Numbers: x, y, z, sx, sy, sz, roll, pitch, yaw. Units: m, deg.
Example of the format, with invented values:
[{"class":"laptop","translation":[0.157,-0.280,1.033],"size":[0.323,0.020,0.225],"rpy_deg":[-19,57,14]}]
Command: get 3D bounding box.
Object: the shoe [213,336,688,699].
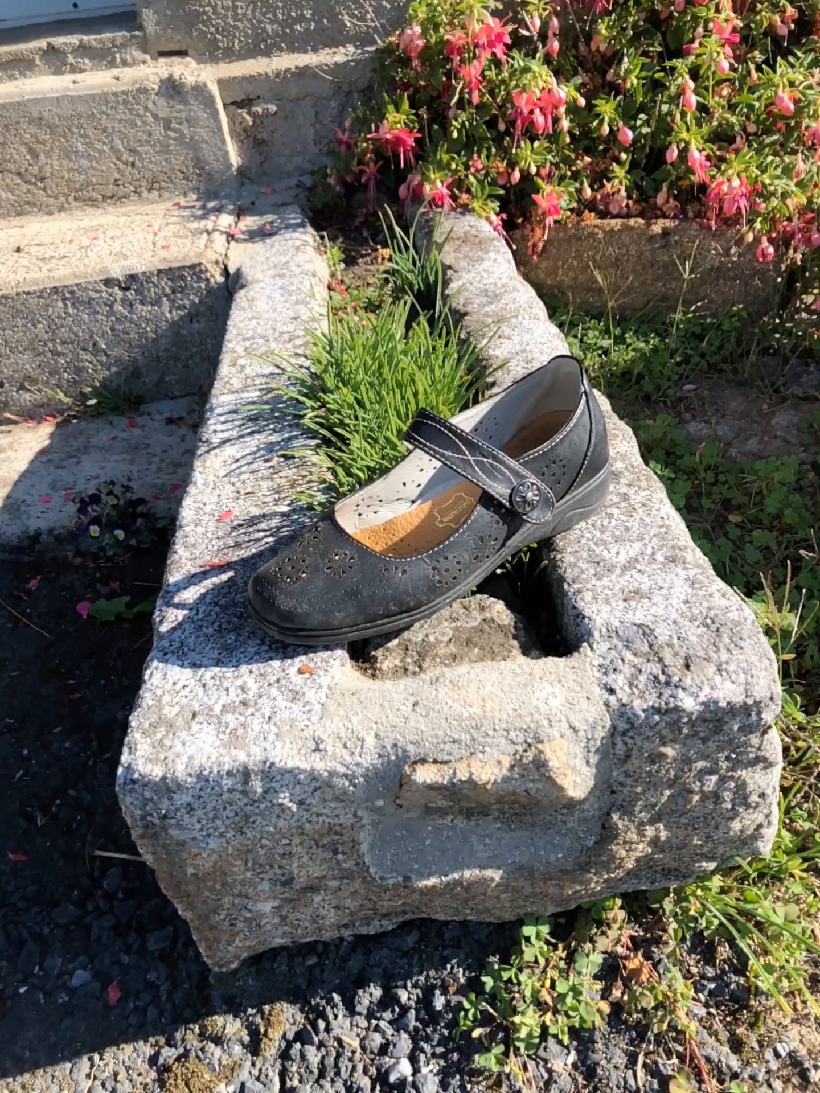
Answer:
[{"class":"shoe","translation":[0.030,-0.029,0.528],"size":[0.251,0.099,0.100],"rpy_deg":[-23,37,-22]}]
